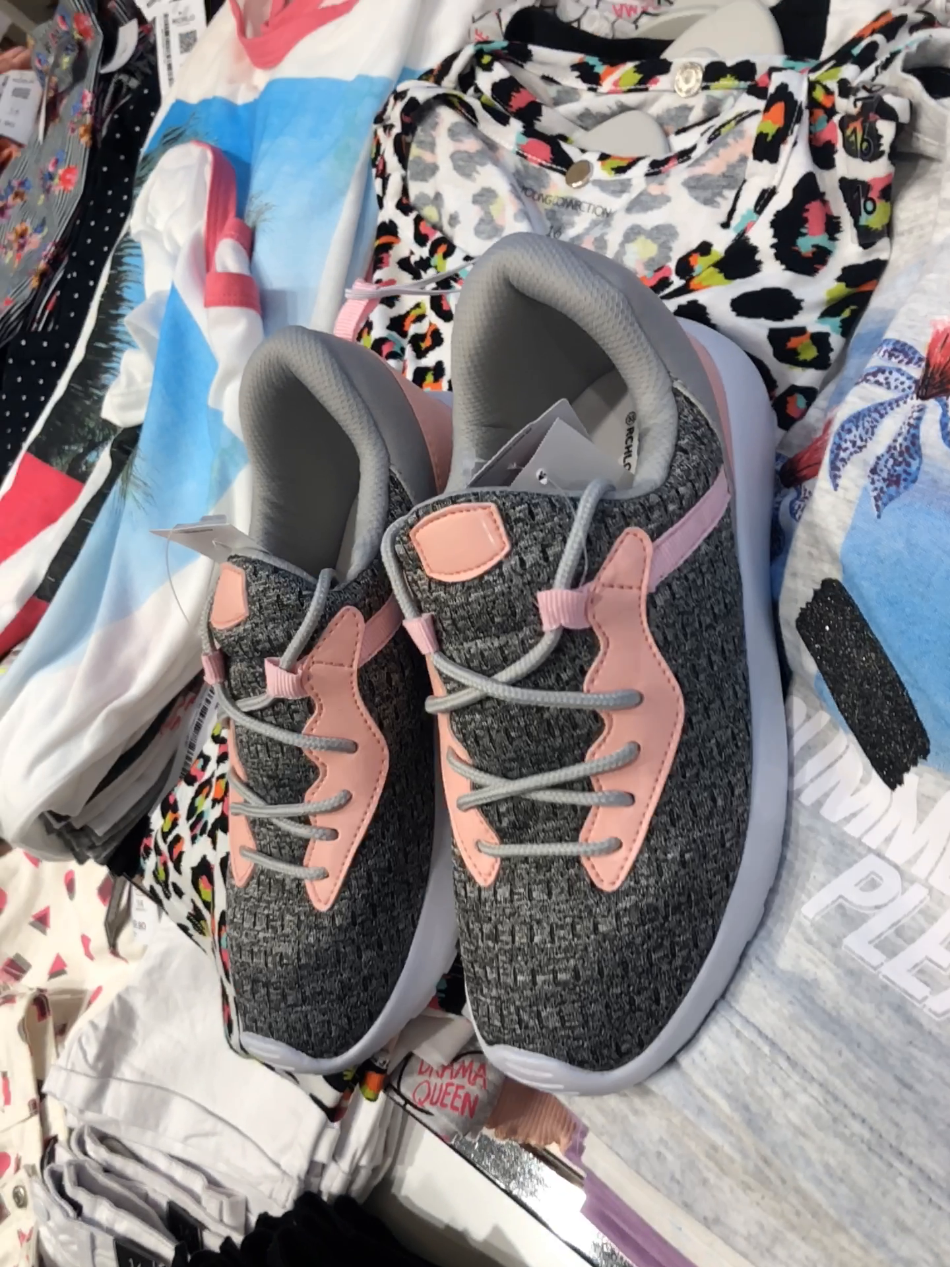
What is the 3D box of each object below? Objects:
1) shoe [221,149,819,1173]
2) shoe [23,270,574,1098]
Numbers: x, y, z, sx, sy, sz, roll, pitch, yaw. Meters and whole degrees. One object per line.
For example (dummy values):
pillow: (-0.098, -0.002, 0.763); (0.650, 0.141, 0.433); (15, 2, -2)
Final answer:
shoe: (0.021, 0.009, 0.278); (0.100, 0.099, 0.210); (-6, 71, 39)
shoe: (-0.050, 0.018, 0.343); (0.100, 0.099, 0.220); (-3, 73, 40)
